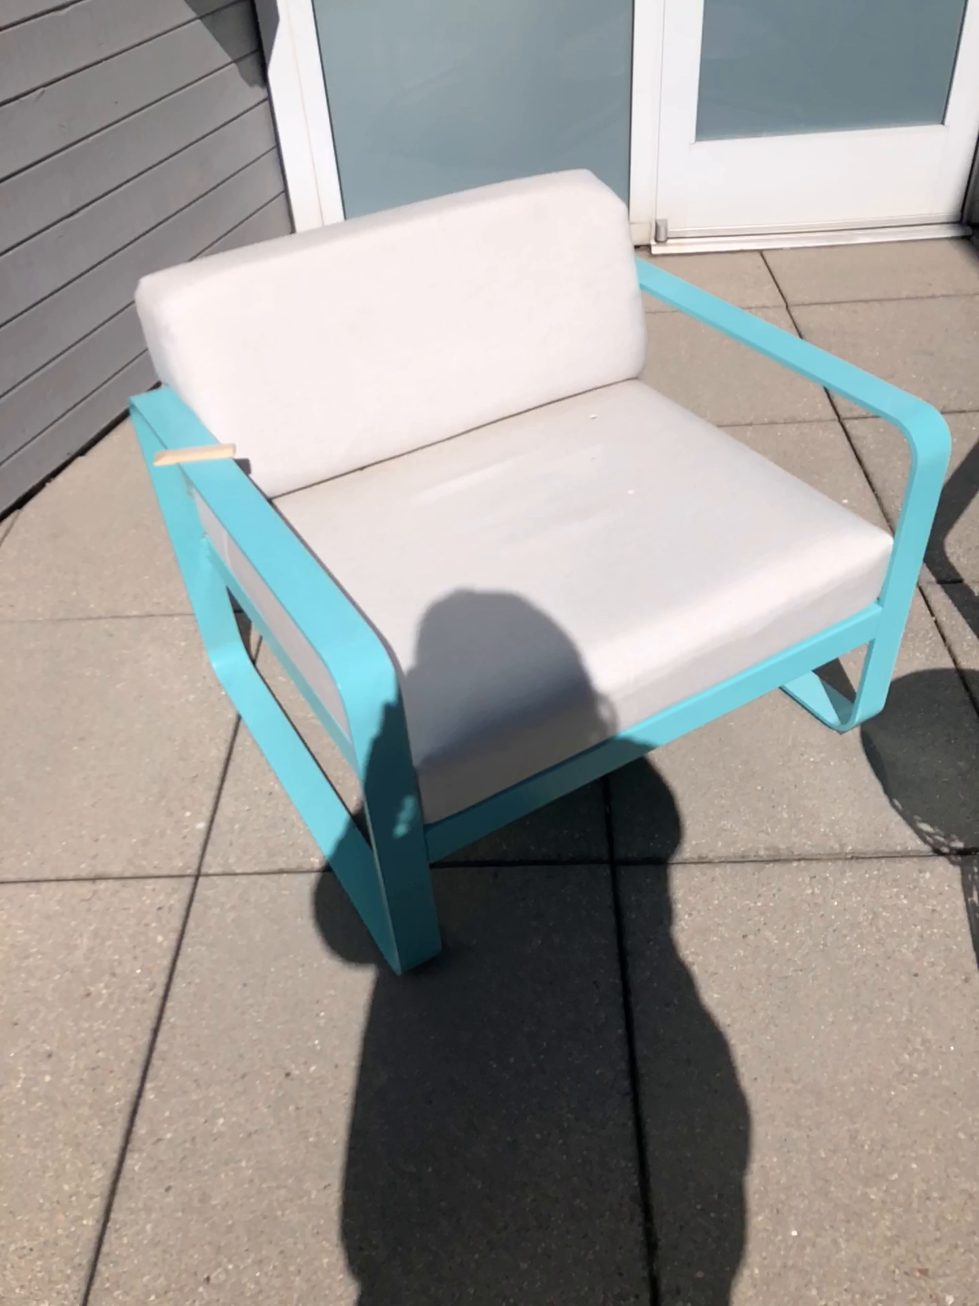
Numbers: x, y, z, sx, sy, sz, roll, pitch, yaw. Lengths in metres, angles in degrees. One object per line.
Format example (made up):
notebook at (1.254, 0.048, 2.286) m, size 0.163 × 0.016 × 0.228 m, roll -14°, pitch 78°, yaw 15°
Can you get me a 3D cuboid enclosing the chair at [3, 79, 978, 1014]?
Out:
chair at (-0.010, -0.245, 1.549) m, size 0.901 × 0.766 × 0.874 m, roll -25°, pitch 44°, yaw -22°
